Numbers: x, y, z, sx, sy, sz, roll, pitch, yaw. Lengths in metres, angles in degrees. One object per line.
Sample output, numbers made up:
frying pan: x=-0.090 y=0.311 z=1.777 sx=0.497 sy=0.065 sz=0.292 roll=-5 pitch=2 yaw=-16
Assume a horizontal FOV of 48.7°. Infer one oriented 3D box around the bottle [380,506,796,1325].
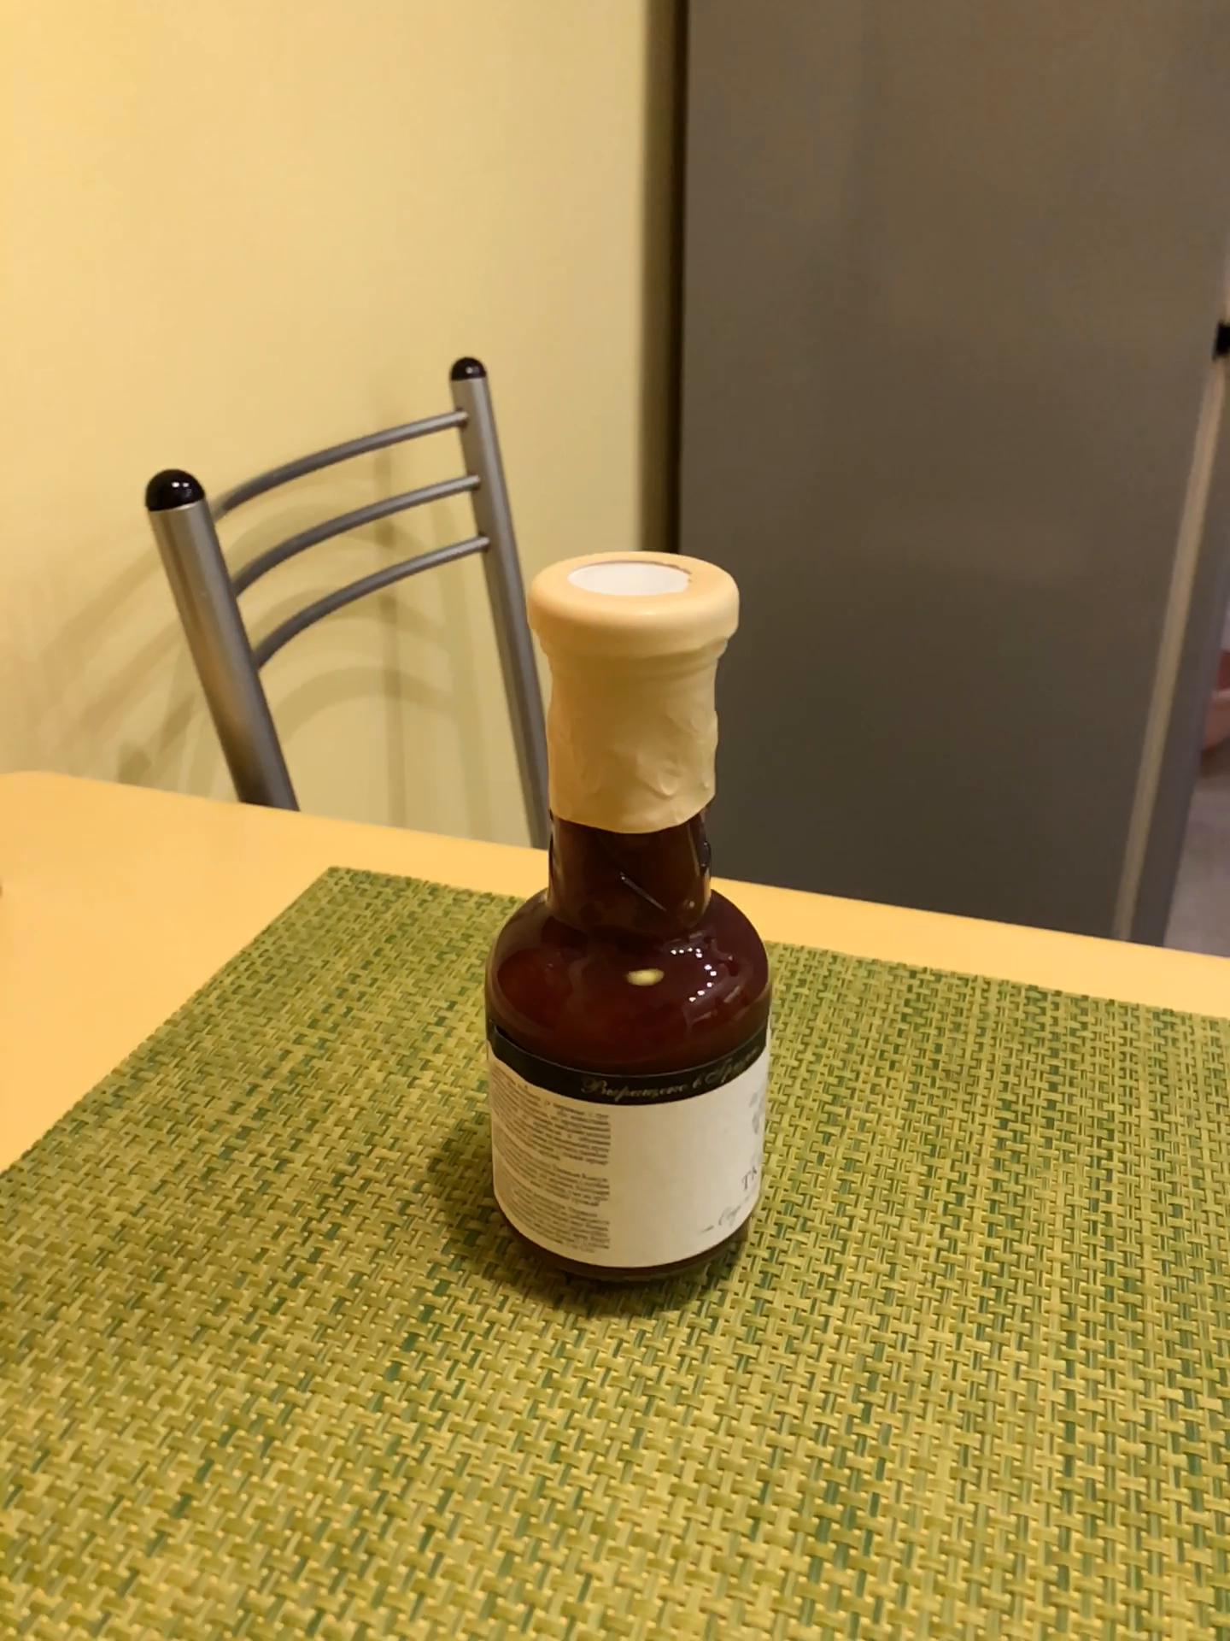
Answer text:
bottle: x=-0.002 y=0.020 z=0.298 sx=0.070 sy=0.159 sz=0.070 roll=1 pitch=25 yaw=0
